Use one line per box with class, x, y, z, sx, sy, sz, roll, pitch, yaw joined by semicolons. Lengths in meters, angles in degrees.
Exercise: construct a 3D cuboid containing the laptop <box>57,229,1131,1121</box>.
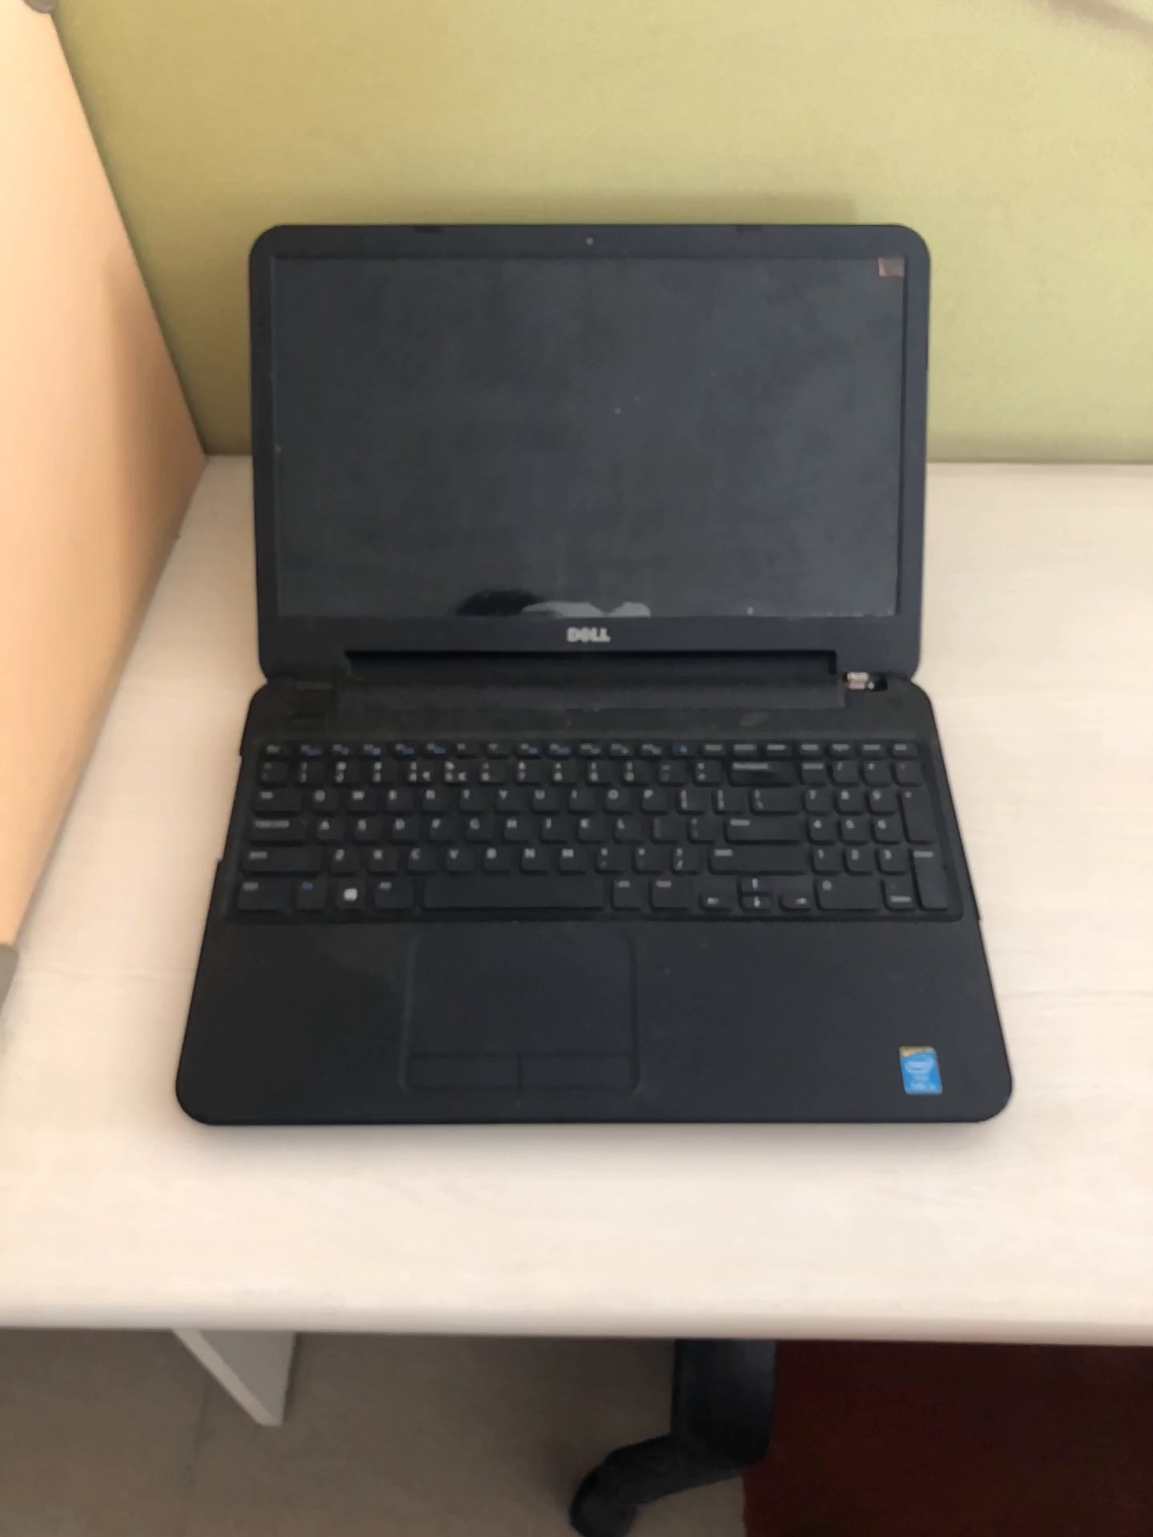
laptop;0.008;-0.069;0.623;0.356;0.165;0.426;0;52;0
